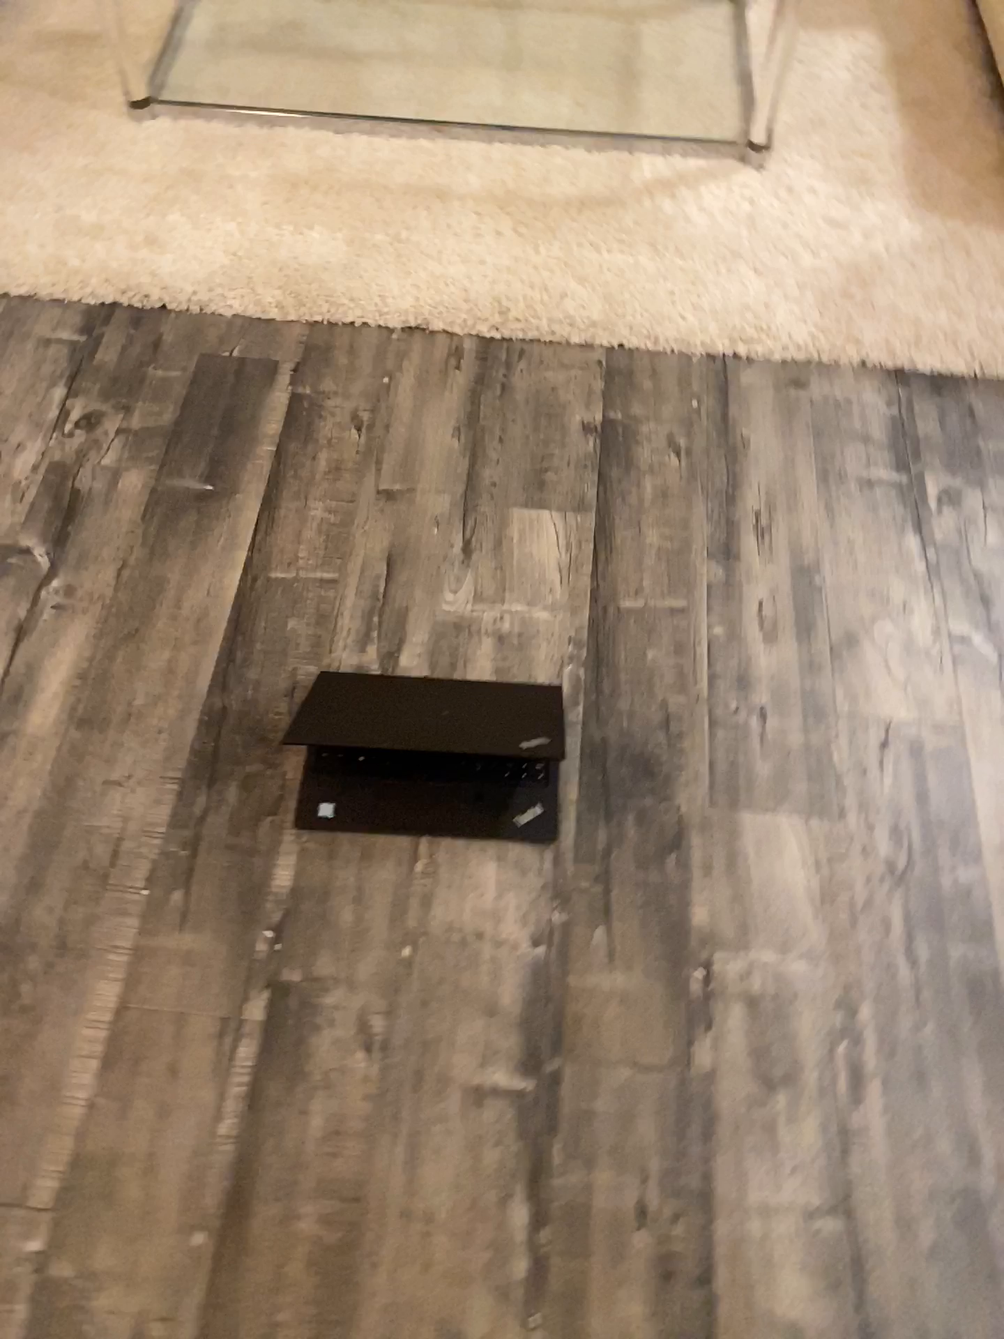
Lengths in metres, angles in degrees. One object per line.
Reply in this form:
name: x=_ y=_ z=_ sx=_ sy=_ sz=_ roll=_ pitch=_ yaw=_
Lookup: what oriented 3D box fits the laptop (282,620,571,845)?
laptop: x=-0.081 y=0.075 z=1.236 sx=0.314 sy=0.124 sz=0.219 roll=4 pitch=59 yaw=1
